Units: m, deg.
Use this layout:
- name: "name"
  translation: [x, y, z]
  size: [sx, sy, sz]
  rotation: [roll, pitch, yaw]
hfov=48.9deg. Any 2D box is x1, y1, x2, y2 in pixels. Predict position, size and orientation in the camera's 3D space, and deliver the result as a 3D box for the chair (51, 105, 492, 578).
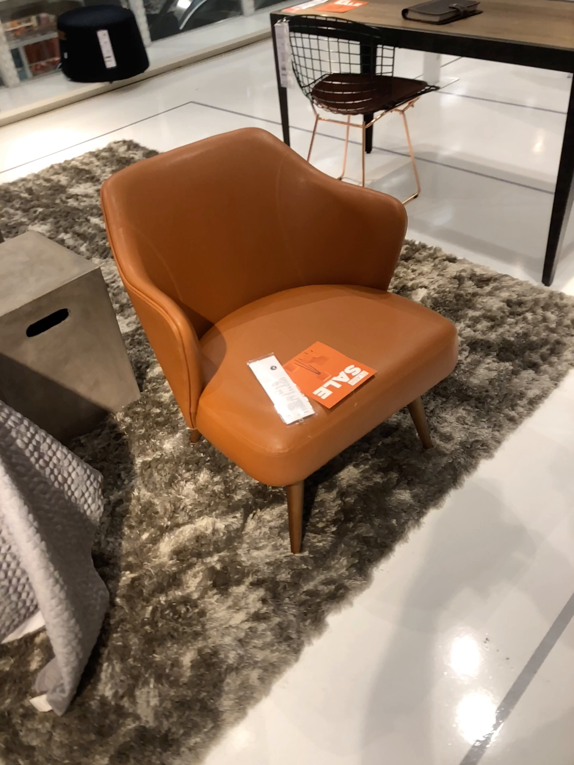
- name: "chair"
  translation: [-0.025, -0.136, 1.464]
  size: [0.592, 0.704, 0.653]
  rotation: [-32, 46, -27]
